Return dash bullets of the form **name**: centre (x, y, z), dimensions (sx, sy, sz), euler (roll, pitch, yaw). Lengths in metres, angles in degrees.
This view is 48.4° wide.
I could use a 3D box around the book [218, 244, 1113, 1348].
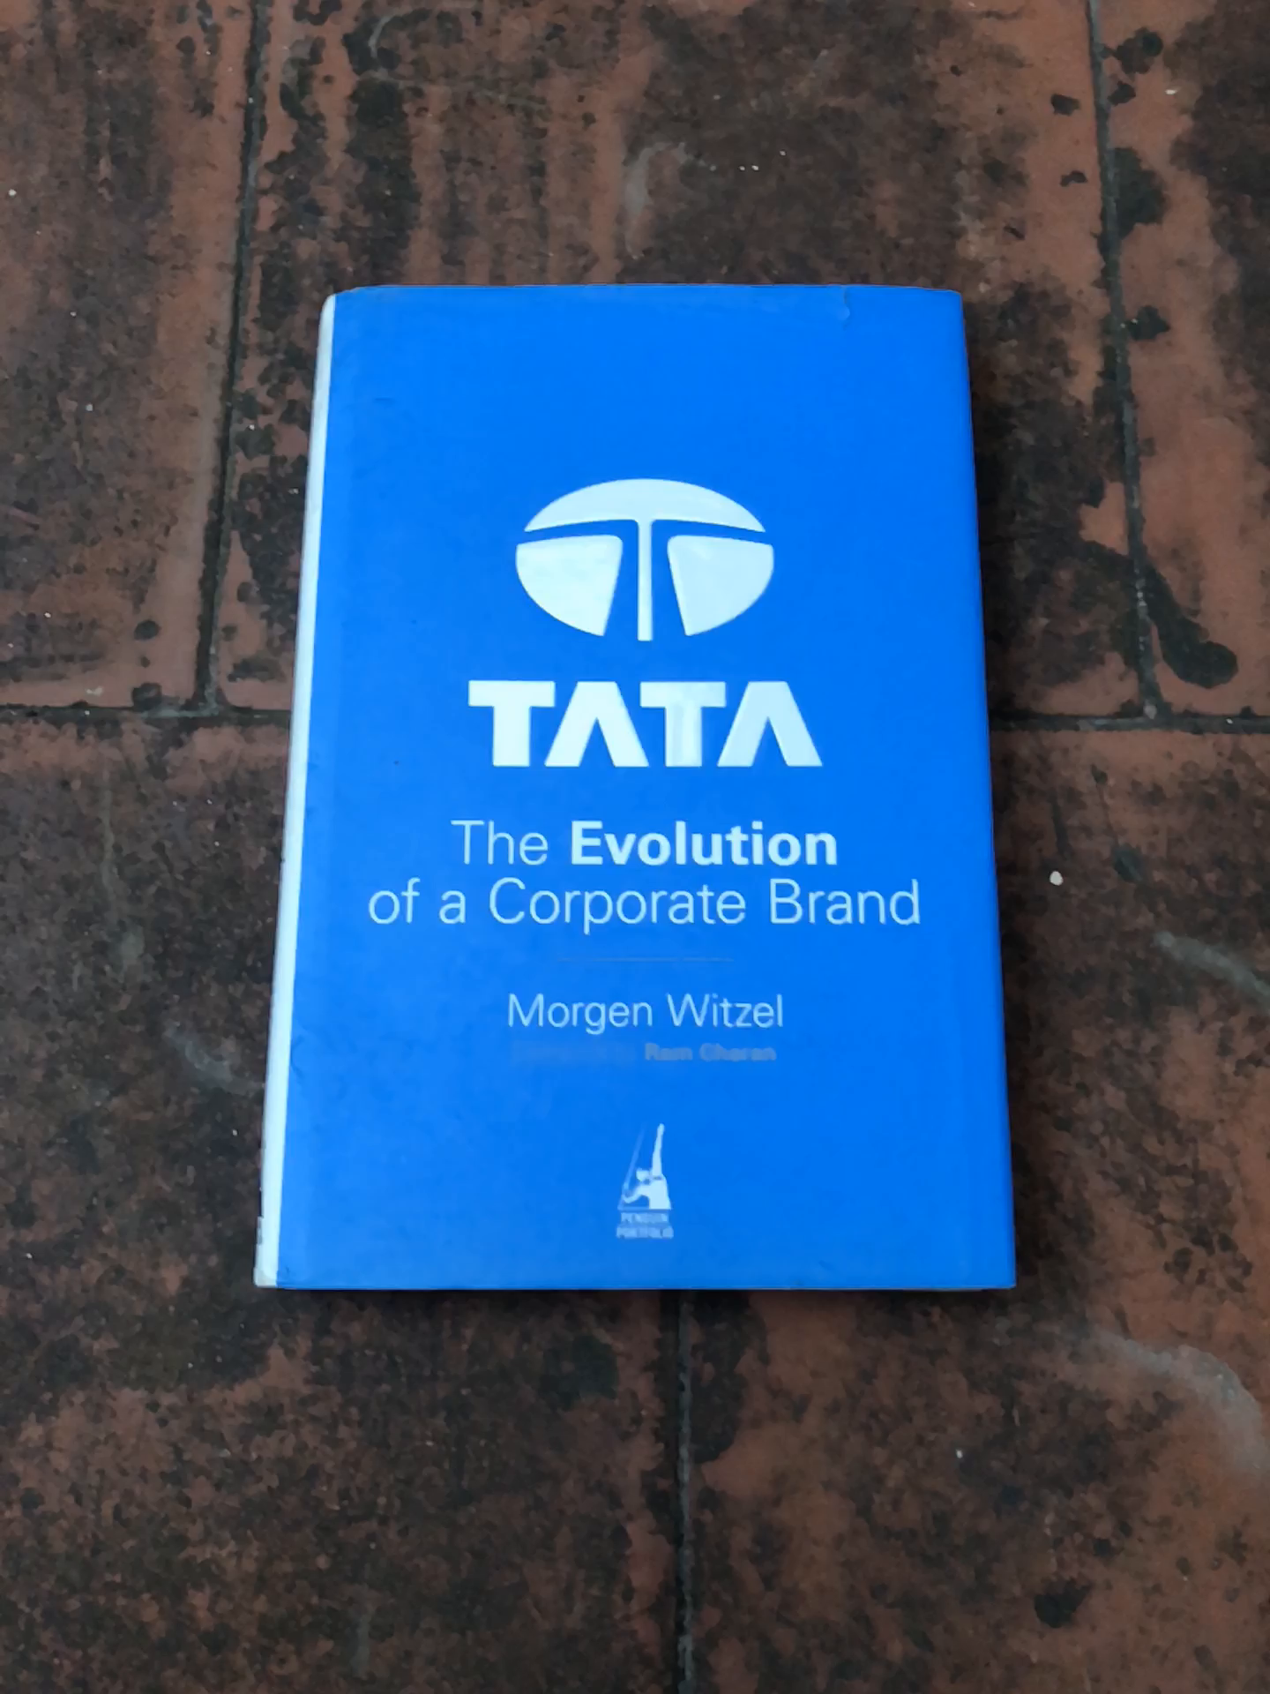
- **book**: centre (0.007, -0.017, 0.317), dimensions (0.170, 0.040, 0.240), euler (1, 76, 0)
